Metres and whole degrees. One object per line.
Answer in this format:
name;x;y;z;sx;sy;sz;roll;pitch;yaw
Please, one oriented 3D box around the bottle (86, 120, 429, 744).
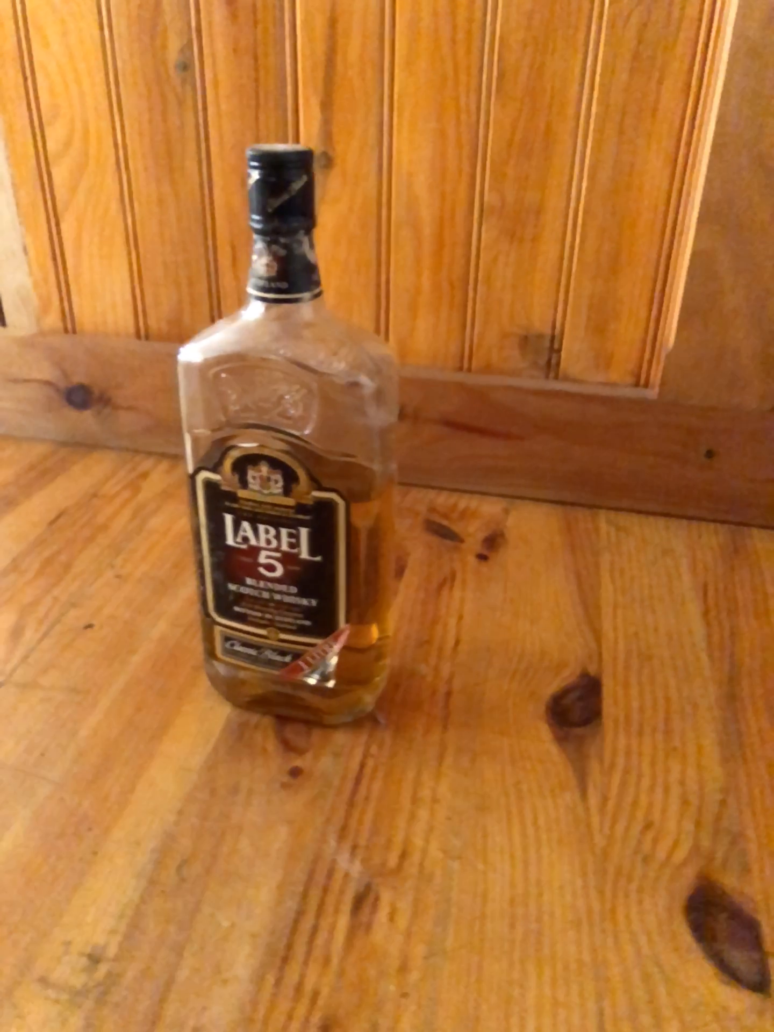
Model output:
bottle;-0.053;-0.034;0.430;0.120;0.288;0.081;10;31;14
